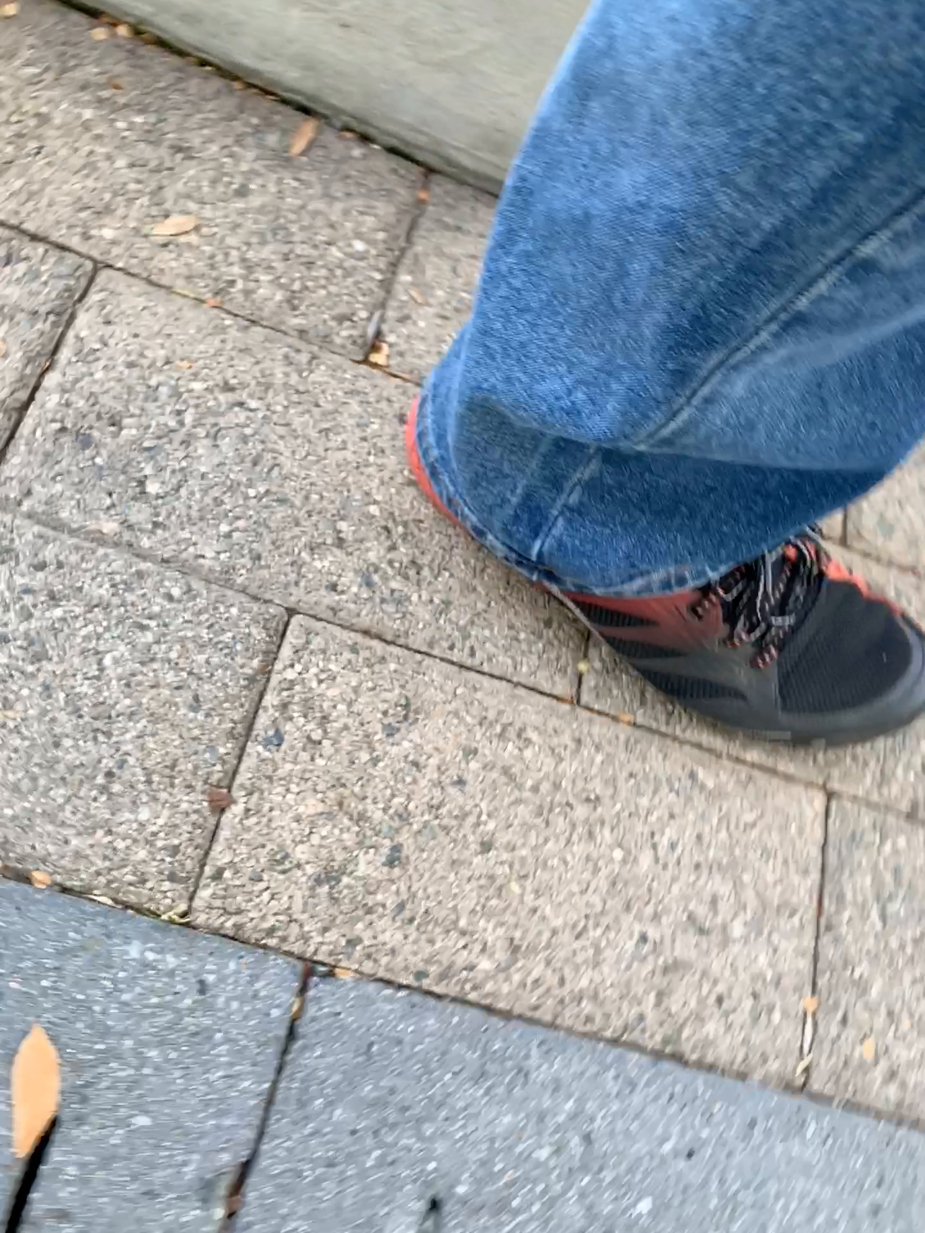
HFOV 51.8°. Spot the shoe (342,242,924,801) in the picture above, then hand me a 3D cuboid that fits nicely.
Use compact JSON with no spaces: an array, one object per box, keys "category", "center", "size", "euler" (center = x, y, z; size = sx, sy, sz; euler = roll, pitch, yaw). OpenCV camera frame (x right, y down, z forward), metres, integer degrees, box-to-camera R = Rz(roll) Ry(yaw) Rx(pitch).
[{"category":"shoe","center":[0.114,-0.040,0.471],"size":[0.306,0.080,0.137],"euler":[25,64,-7]}]
